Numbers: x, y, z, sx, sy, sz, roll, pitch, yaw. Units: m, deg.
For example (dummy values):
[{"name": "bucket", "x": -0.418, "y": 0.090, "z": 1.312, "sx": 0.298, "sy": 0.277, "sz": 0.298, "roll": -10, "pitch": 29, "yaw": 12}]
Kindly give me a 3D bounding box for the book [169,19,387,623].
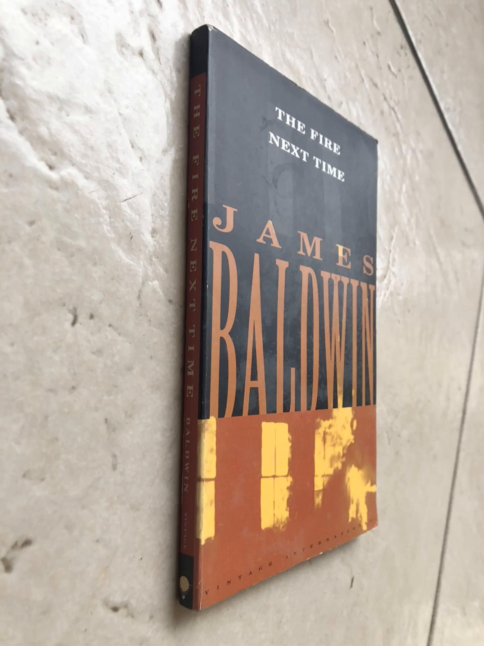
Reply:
[{"name": "book", "x": 0.025, "y": -0.001, "z": 0.234, "sx": 0.131, "sy": 0.016, "sz": 0.200, "roll": 6, "pitch": 82, "yaw": -50}]
